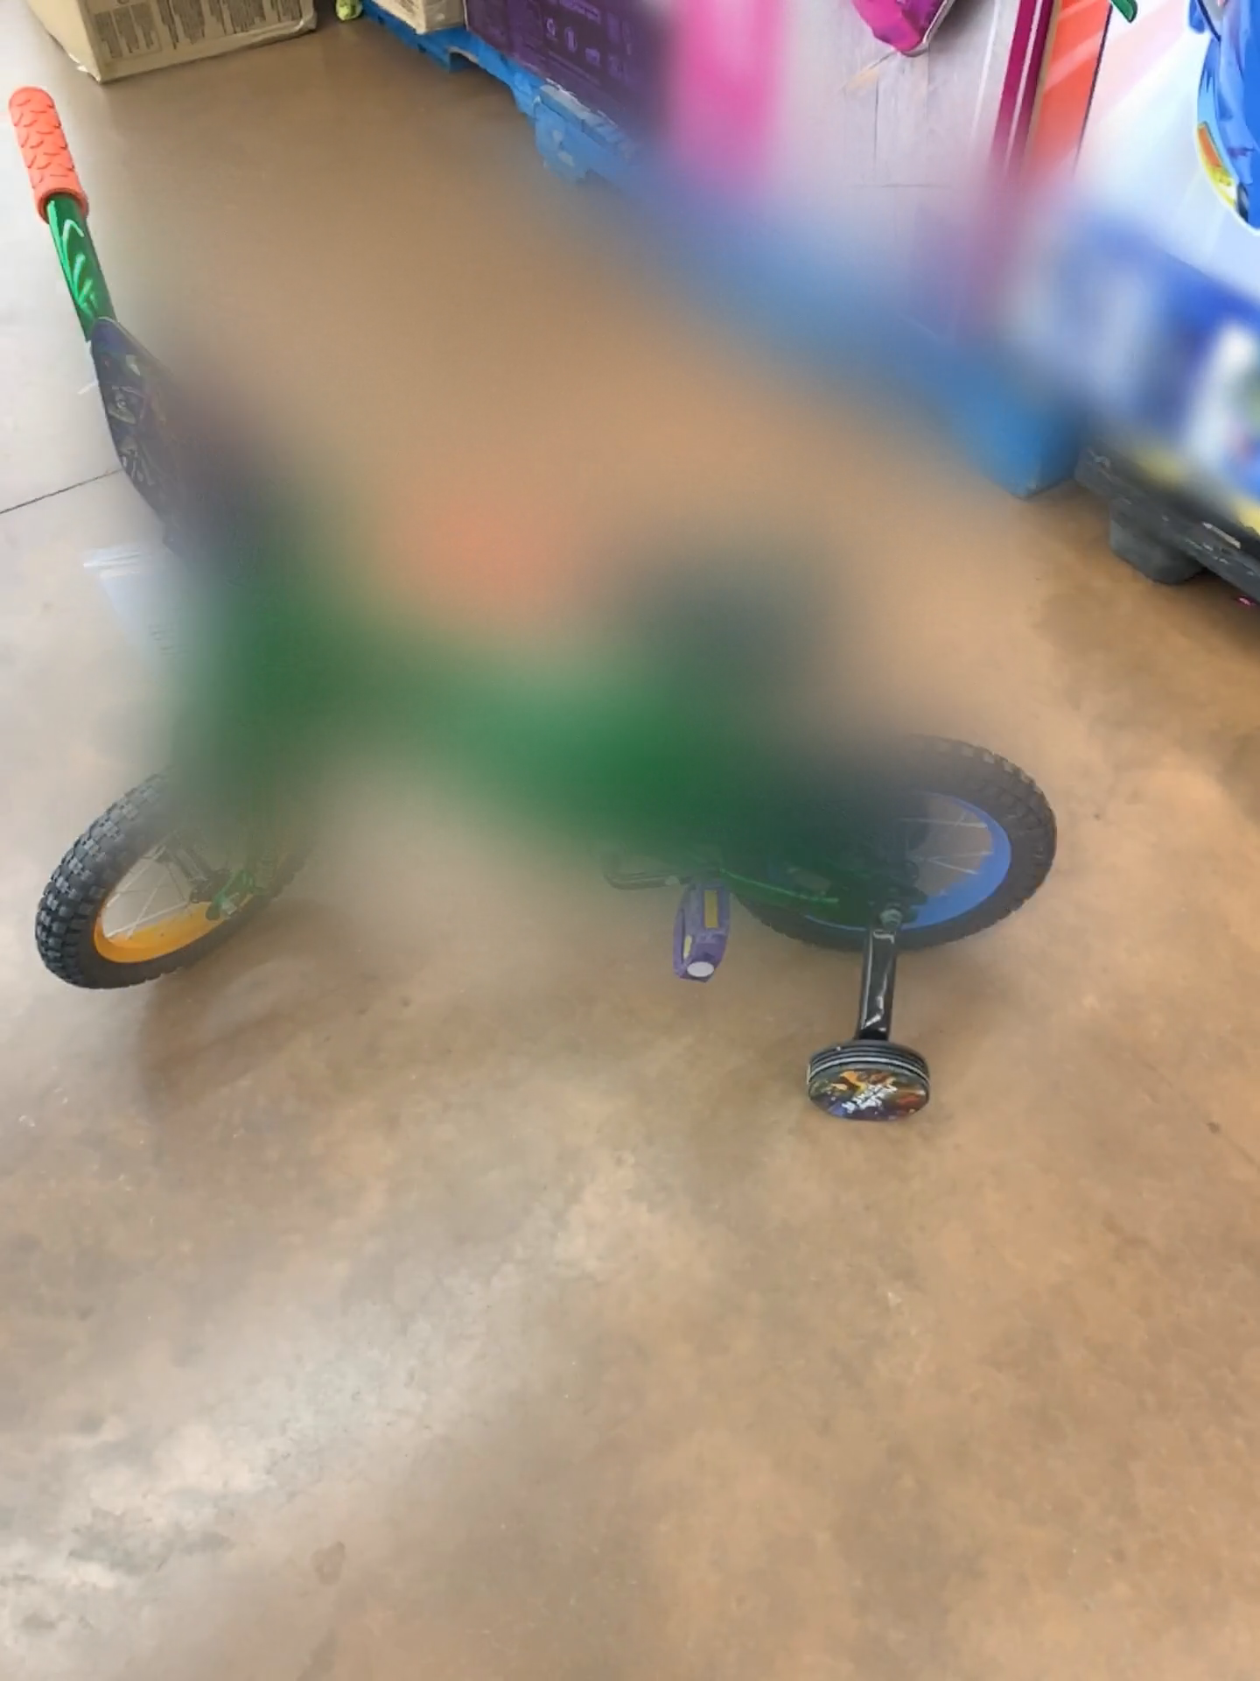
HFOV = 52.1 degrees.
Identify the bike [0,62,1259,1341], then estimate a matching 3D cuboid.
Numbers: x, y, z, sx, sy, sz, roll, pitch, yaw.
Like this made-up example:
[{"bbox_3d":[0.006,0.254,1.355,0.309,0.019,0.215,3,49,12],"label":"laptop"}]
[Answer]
[{"bbox_3d":[-0.056,-0.060,0.910,0.828,0.677,0.533,-2,51,-1],"label":"bike"}]
